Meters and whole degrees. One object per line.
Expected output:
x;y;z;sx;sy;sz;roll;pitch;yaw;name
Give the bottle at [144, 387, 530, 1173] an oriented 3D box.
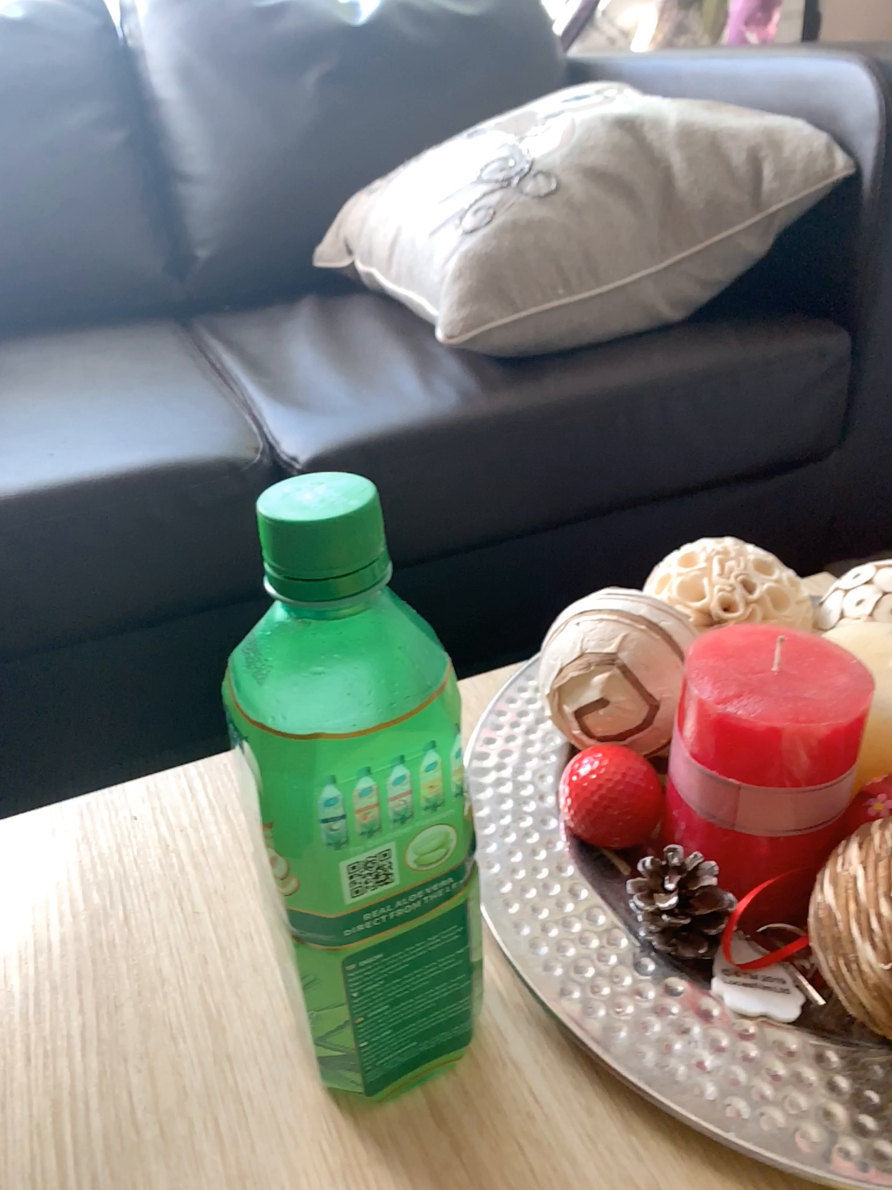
-0.025;0.061;0.271;0.070;0.218;0.071;-2;31;1;bottle
